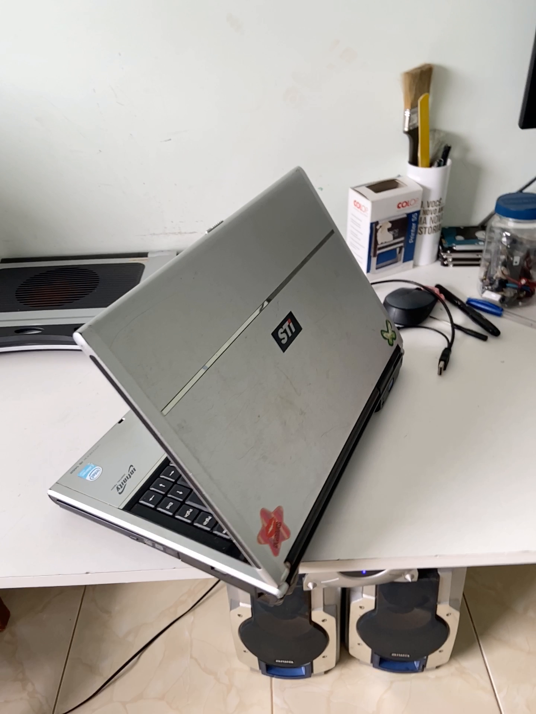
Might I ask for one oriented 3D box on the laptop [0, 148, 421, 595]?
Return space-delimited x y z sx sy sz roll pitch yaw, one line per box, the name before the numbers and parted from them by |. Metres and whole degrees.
laptop | -0.025 -0.028 0.519 0.236 0.210 0.339 15 40 22
